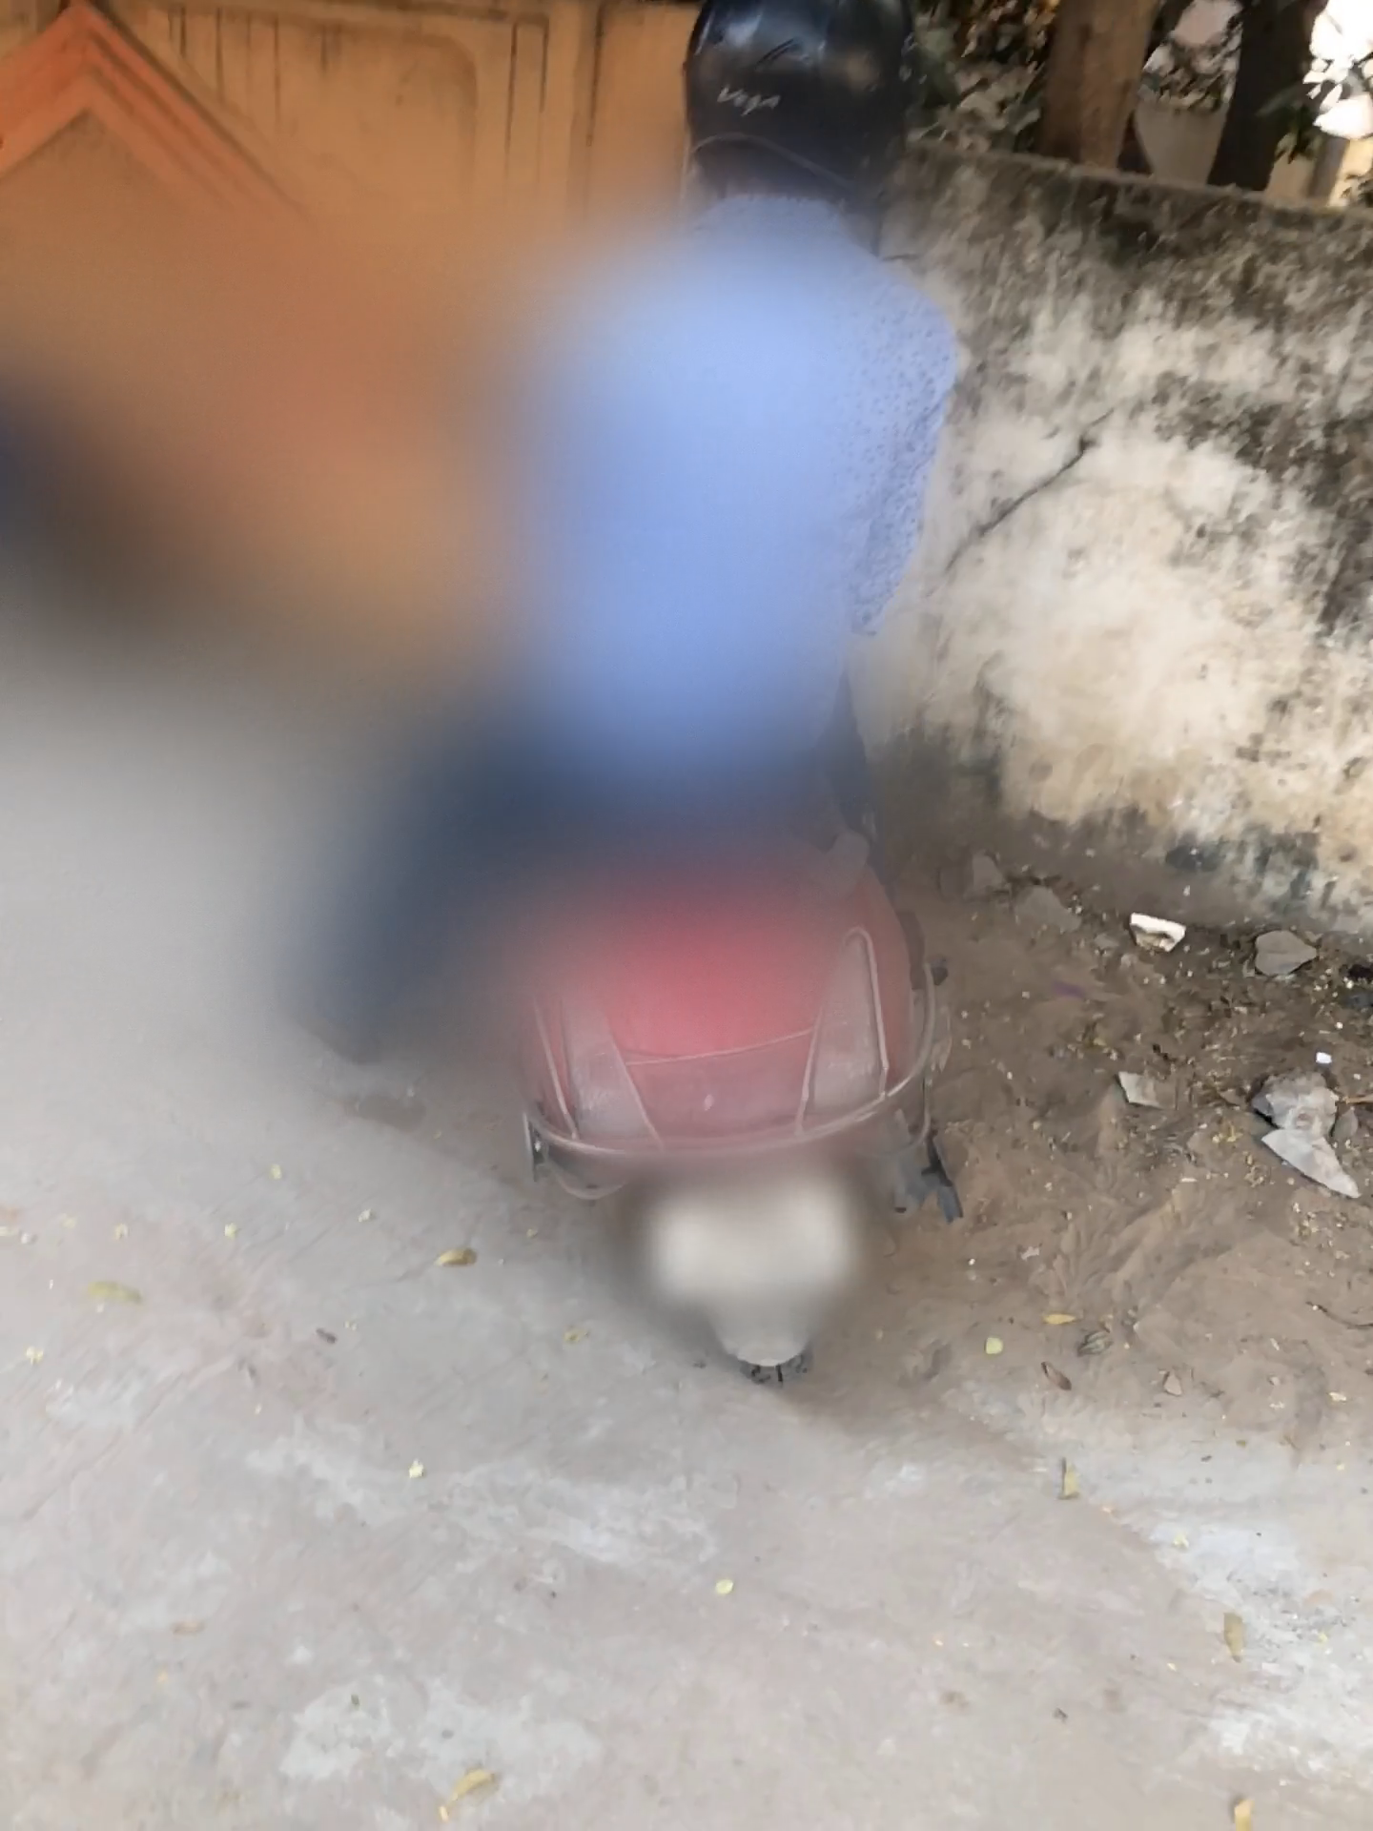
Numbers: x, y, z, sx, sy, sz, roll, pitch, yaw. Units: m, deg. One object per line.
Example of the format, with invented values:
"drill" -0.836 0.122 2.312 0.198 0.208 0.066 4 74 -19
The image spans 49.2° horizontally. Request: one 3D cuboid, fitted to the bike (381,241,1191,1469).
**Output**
"bike" -0.076 -0.208 2.278 0.722 1.165 1.509 1 32 -12
